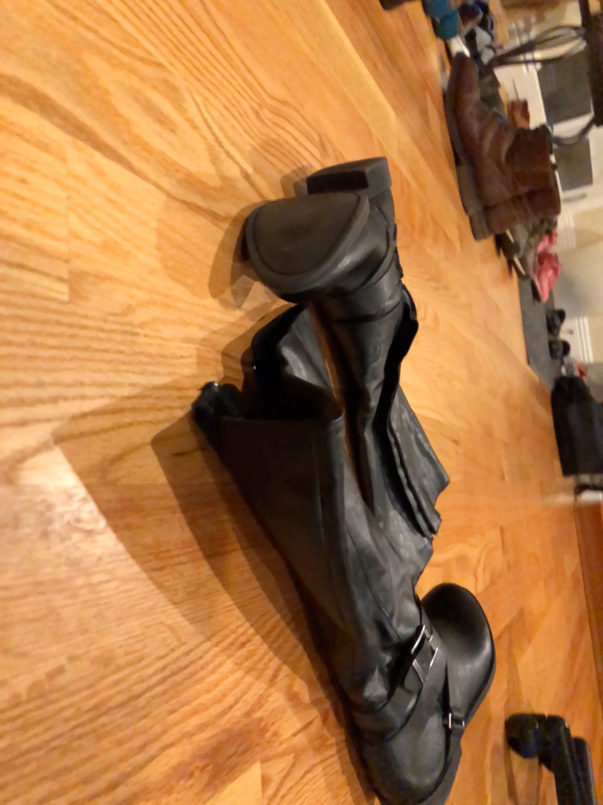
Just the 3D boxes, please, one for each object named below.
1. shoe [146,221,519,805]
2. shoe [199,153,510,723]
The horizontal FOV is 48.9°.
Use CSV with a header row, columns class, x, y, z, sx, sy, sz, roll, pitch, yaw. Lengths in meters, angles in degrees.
class,x,y,z,sx,sy,sz,roll,pitch,yaw
shoe,0.073,0.101,0.514,0.292,0.104,0.403,-54,131,-57
shoe,0.080,0.018,0.557,0.251,0.094,0.393,-52,128,-57
